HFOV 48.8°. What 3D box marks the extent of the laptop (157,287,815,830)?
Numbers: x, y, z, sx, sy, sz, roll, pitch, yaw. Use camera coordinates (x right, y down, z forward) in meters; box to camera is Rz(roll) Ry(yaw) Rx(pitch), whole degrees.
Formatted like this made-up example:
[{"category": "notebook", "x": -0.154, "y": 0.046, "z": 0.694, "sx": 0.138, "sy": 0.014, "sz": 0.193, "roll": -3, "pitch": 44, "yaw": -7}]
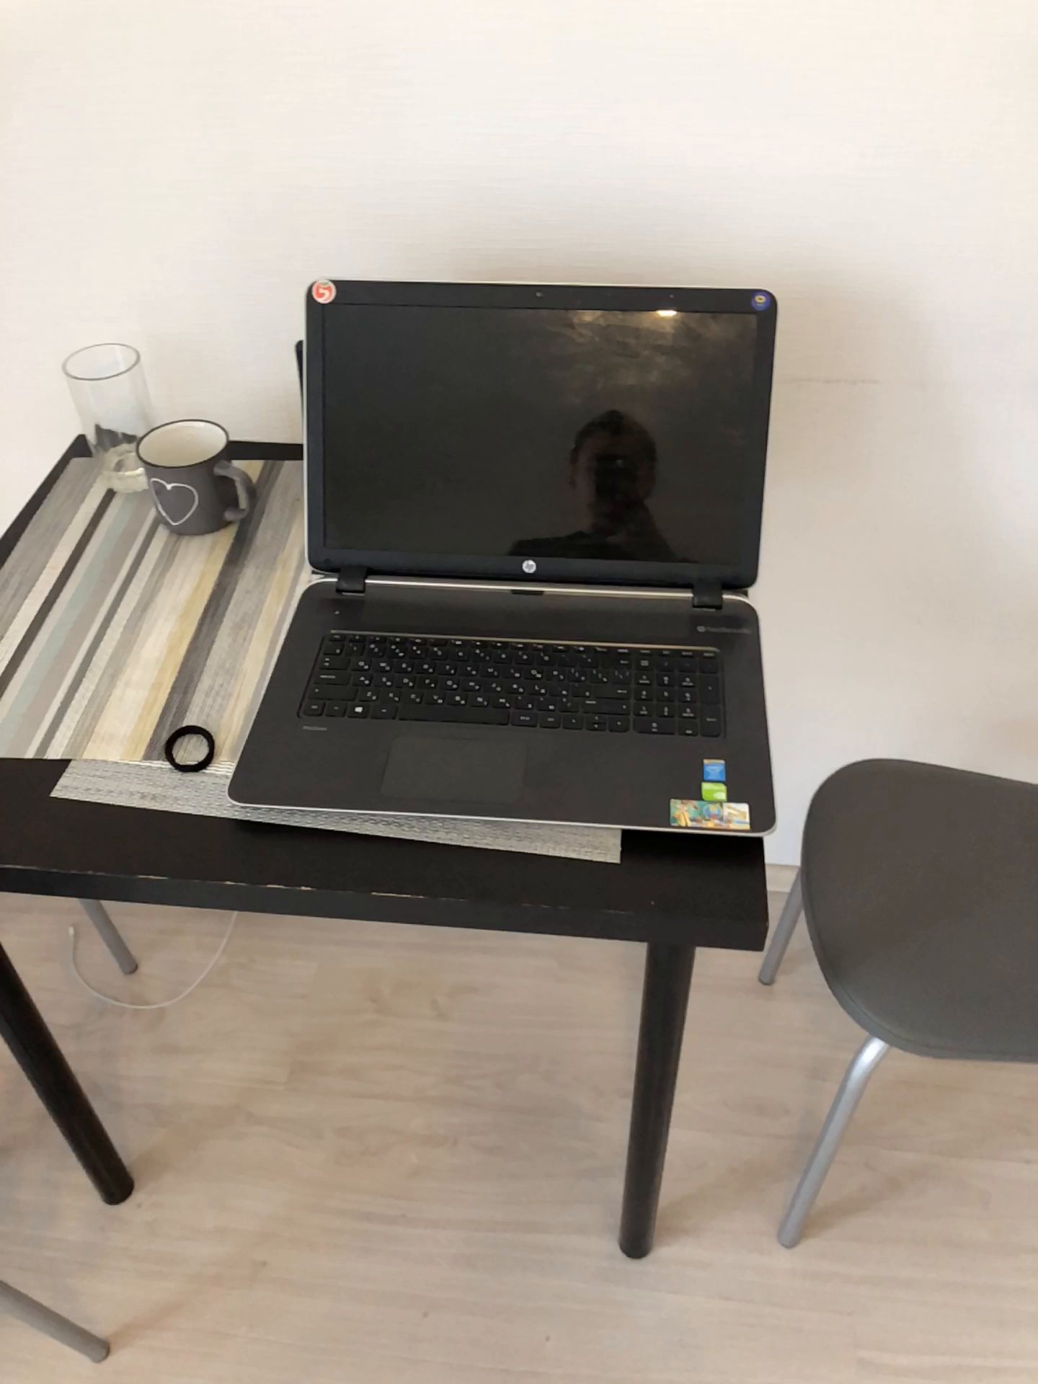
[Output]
[{"category": "laptop", "x": -0.003, "y": -0.132, "z": 0.944, "sx": 0.415, "sy": 0.227, "sz": 0.414, "roll": 3, "pitch": 43, "yaw": 5}]
